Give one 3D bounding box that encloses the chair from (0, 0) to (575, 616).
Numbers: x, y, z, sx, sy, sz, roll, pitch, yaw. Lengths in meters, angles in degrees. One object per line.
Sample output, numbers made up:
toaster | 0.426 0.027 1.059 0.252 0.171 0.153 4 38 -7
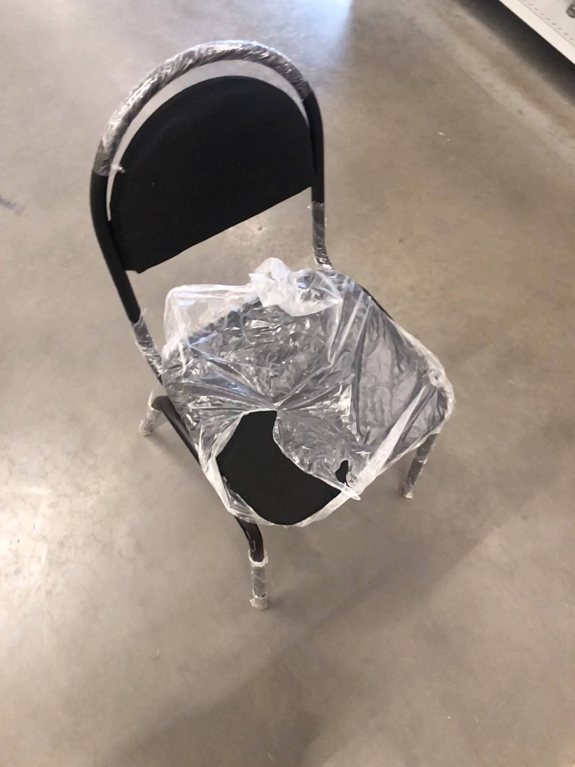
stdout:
chair | -0.006 -0.016 1.061 0.451 0.877 0.551 -32 72 -17
